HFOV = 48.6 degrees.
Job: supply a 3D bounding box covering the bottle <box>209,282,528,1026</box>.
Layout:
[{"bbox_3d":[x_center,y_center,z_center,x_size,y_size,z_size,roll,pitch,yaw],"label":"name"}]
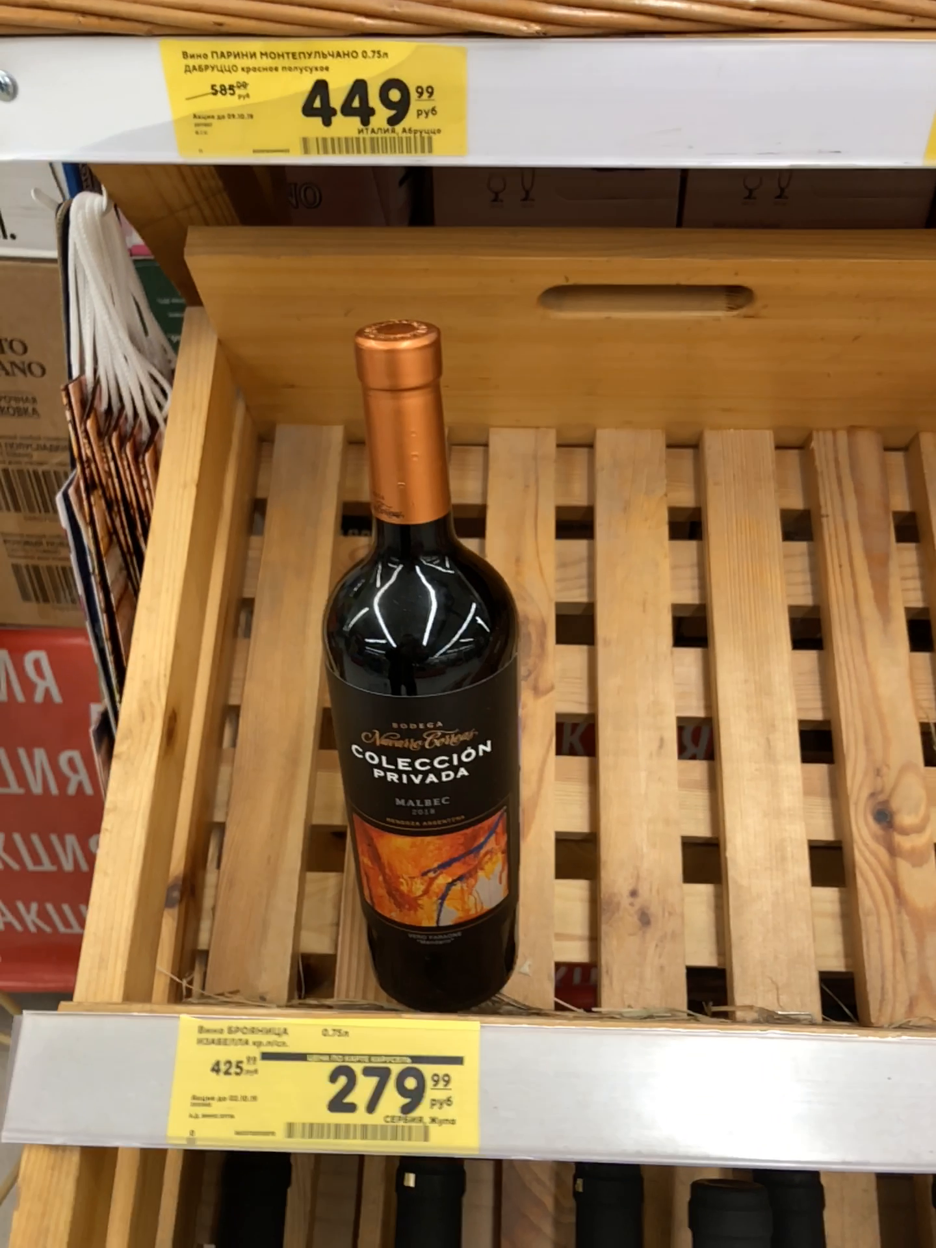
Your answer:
[{"bbox_3d":[-0.023,0.025,0.407,0.086,0.289,0.080,-2,30,1],"label":"bottle"}]
